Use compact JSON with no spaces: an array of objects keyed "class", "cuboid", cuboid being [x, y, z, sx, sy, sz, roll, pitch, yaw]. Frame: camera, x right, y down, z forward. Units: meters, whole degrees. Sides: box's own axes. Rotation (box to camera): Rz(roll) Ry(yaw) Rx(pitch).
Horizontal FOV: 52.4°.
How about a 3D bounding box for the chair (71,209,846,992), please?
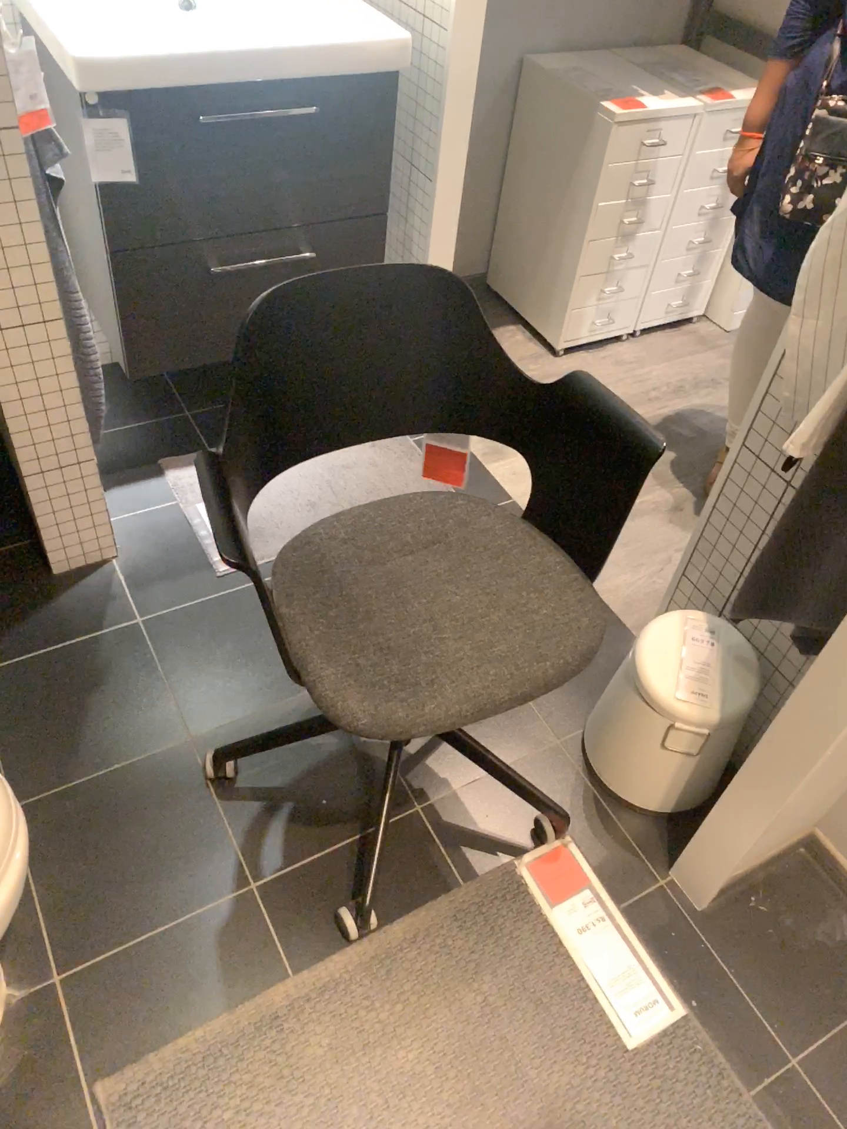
[{"class":"chair","cuboid":[-0.017,0.035,1.207,0.641,0.737,0.602,-18,51,-23]}]
